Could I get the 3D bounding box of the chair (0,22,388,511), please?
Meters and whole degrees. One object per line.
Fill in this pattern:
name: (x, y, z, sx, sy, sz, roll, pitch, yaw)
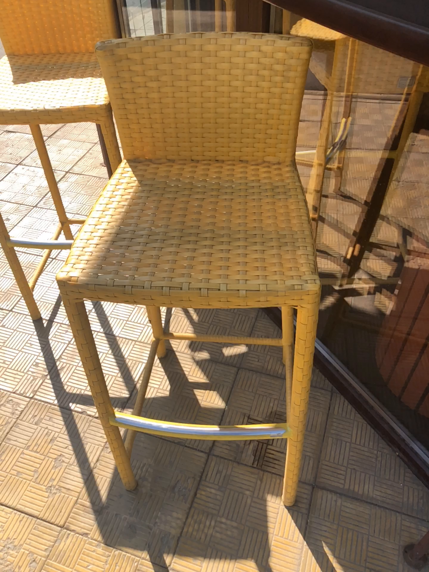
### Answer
chair: (-0.023, 0.023, 1.013, 0.480, 0.917, 0.522, 4, 46, 5)
